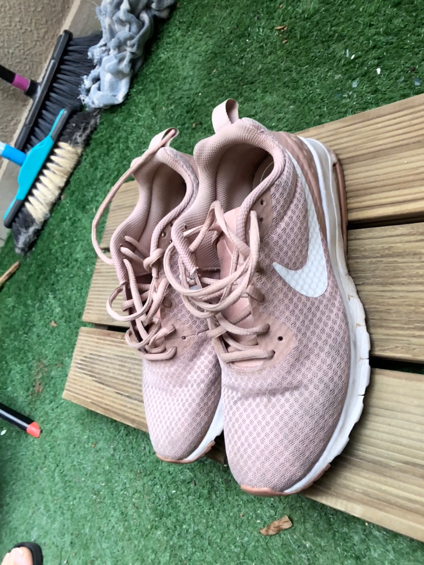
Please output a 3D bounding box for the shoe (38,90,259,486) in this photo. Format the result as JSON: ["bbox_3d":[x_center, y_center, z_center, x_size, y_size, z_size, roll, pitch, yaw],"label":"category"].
[{"bbox_3d":[-0.044,0.007,0.365,0.111,0.089,0.260,-11,67,47],"label":"shoe"}]

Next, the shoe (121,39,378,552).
[{"bbox_3d":[0.028,0.006,0.297,0.111,0.089,0.260,-13,66,46],"label":"shoe"}]
